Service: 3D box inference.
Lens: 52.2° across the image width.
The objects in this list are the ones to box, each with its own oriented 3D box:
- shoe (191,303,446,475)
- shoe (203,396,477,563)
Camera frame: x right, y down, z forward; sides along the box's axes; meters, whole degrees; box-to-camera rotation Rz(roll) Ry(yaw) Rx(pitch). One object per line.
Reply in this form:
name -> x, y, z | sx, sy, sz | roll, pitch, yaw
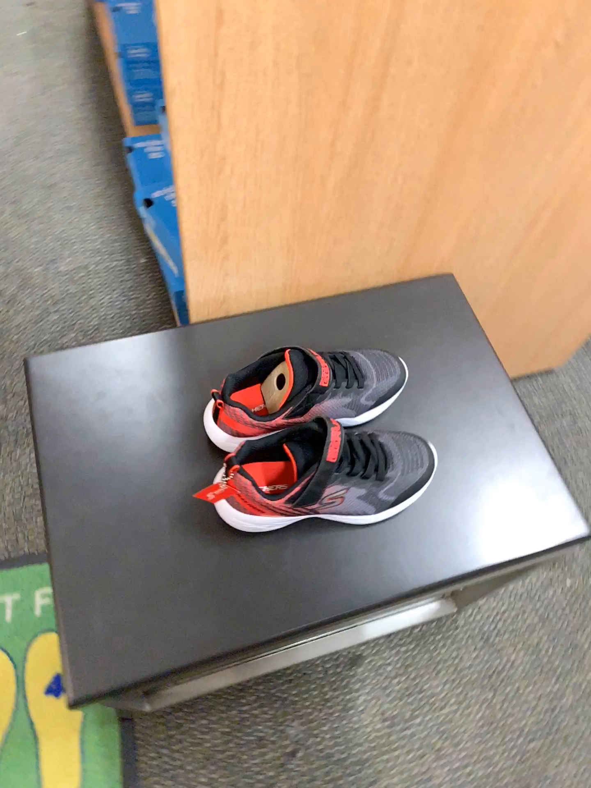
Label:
shoe -> 0.022, -0.007, 0.638 | 0.240, 0.080, 0.090 | -17, 64, -15
shoe -> 0.038, 0.083, 0.598 | 0.240, 0.080, 0.098 | -9, 62, -11
